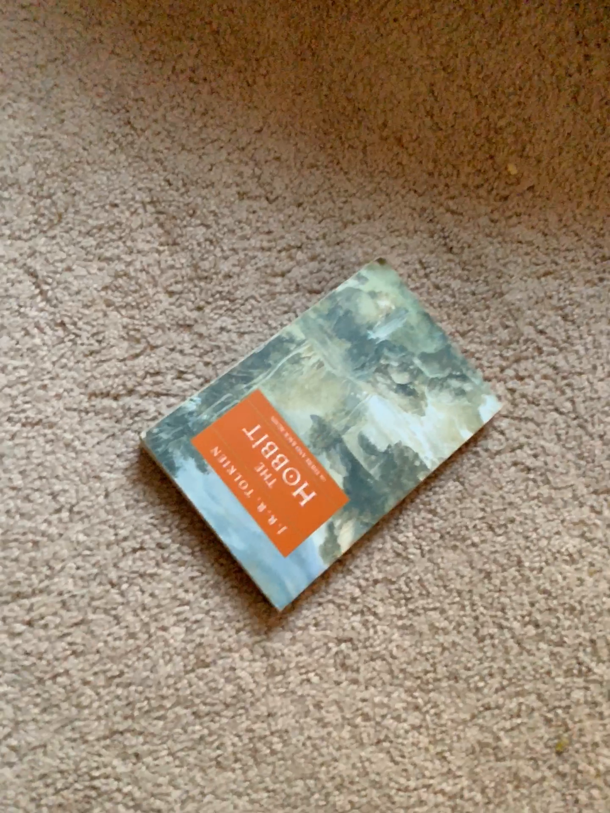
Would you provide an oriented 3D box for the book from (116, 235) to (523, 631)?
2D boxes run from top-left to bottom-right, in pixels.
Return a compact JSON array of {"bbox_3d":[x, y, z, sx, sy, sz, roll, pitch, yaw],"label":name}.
[{"bbox_3d":[0.014,0.011,0.411,0.220,0.030,0.150,-40,88,-11],"label":"book"}]
